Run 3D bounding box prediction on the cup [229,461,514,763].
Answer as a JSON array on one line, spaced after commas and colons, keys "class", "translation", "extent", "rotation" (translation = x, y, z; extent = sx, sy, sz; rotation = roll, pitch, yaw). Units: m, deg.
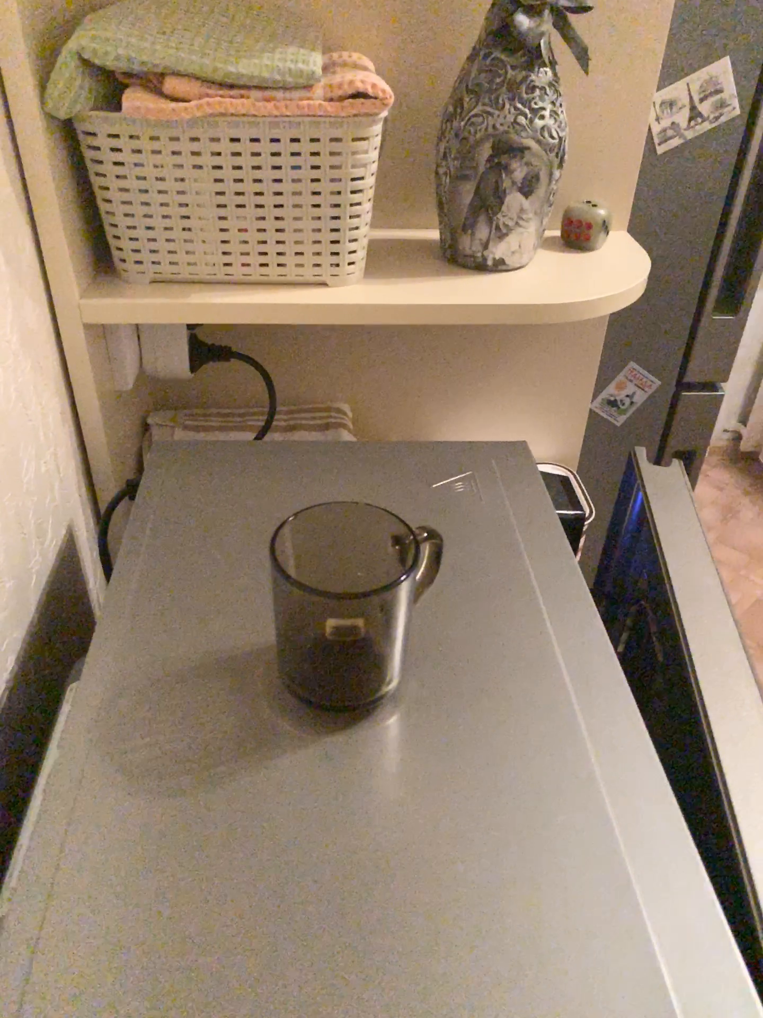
[{"class": "cup", "translation": [-0.005, 0.046, 0.392], "extent": [0.110, 0.079, 0.080], "rotation": [-28, 46, -35]}]
